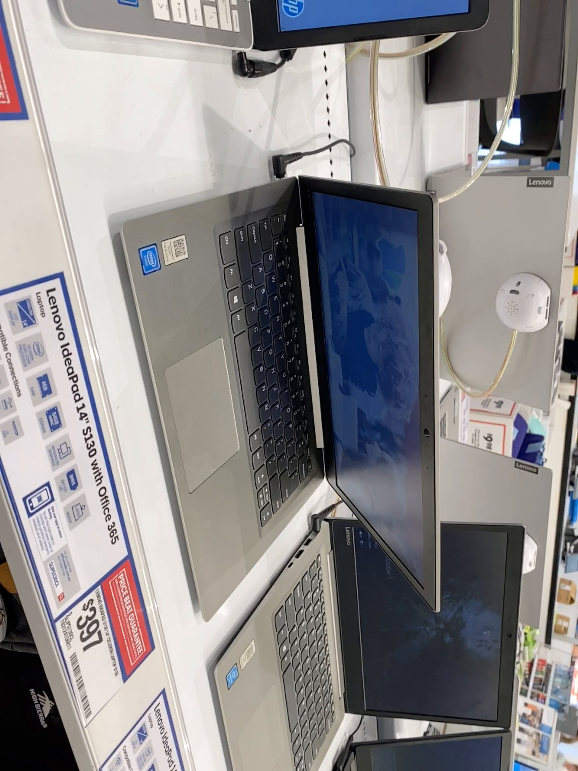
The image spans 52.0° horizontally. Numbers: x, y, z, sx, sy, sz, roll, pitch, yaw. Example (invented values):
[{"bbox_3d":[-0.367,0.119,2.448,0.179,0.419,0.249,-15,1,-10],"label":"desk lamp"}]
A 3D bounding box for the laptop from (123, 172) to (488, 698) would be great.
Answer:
[{"bbox_3d":[0.043,0.017,0.483,0.231,0.170,0.330,-40,131,-52],"label":"laptop"}]

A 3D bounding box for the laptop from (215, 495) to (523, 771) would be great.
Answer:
[{"bbox_3d":[0.117,0.358,0.664,0.310,0.215,0.330,-39,129,-53],"label":"laptop"}]

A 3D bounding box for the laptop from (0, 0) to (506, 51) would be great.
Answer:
[{"bbox_3d":[0.005,-0.377,0.335,0.285,0.155,0.304,-37,127,-51],"label":"laptop"}]
